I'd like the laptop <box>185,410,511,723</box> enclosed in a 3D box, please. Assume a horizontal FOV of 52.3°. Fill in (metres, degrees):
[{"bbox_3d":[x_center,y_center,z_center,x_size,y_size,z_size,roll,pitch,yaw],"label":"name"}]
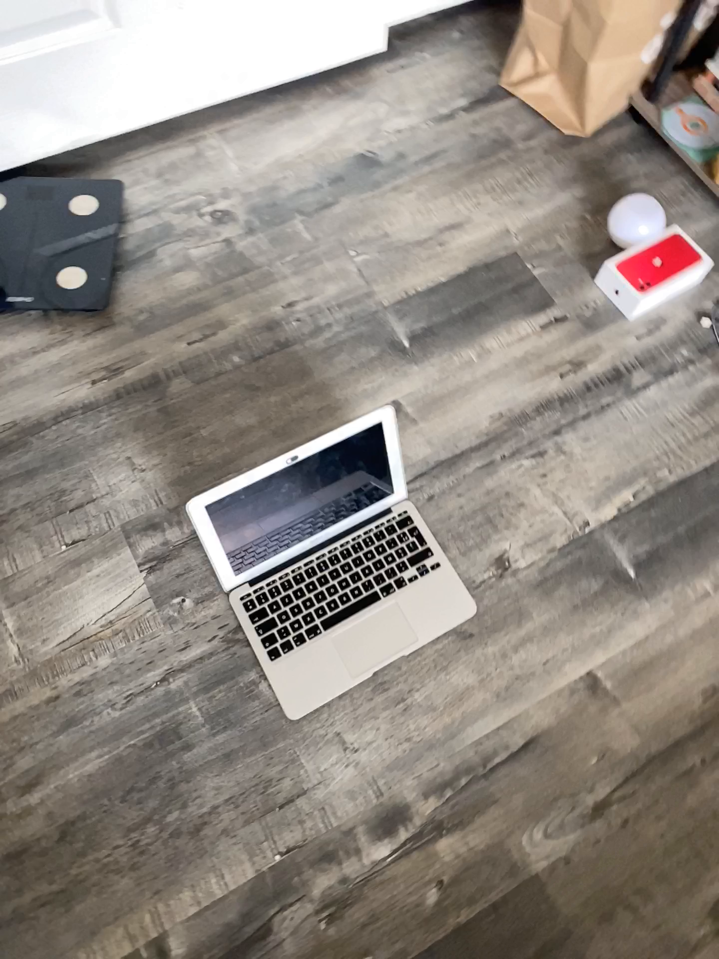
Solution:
[{"bbox_3d":[-0.020,0.107,0.922,0.290,0.160,0.255,-27,68,-15],"label":"laptop"}]
